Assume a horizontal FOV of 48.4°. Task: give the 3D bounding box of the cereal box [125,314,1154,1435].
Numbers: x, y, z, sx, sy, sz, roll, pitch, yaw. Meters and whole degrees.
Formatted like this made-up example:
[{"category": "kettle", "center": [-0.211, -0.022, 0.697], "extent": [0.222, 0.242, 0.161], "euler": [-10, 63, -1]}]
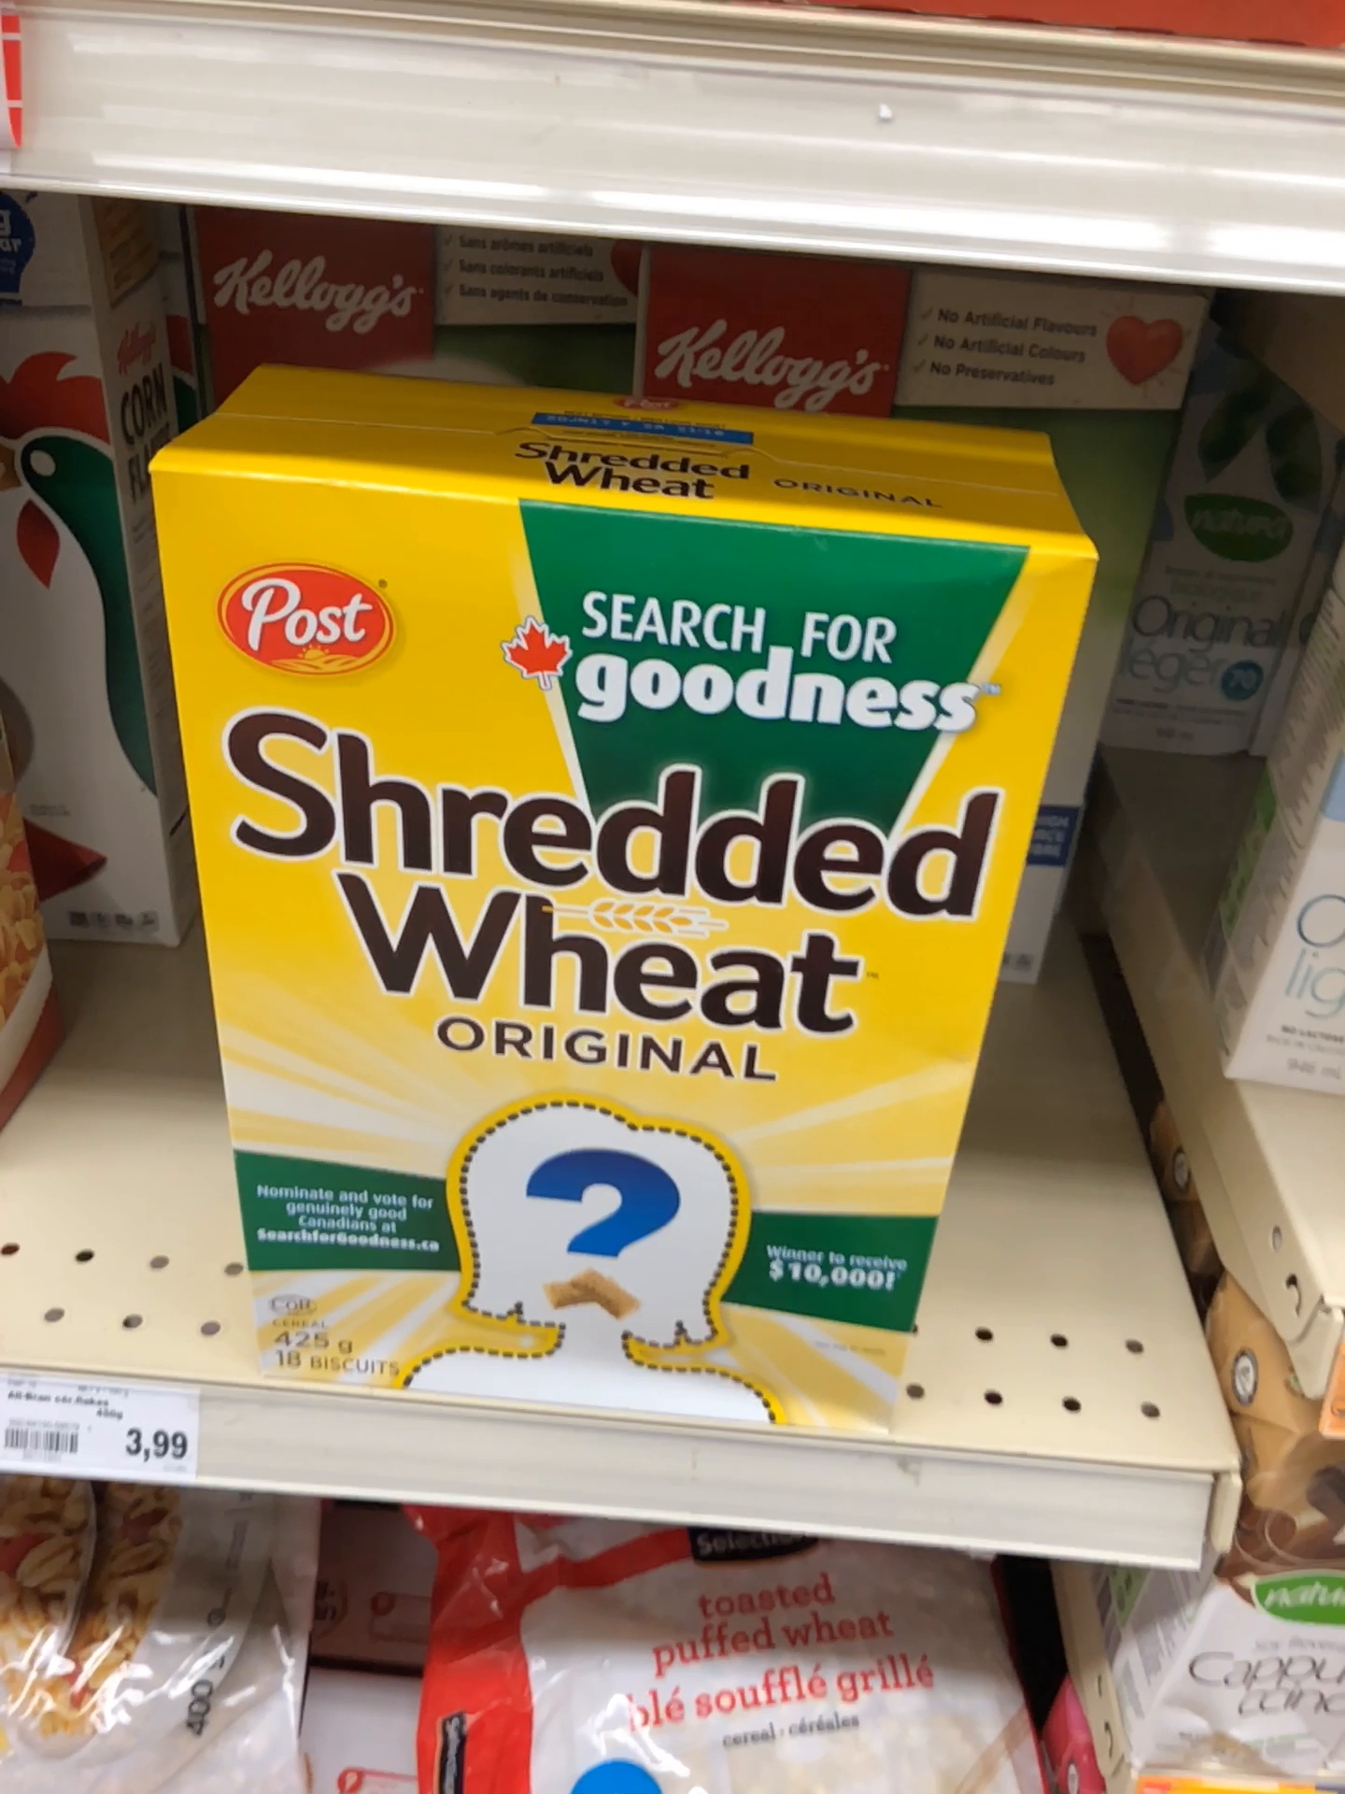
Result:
[{"category": "cereal box", "center": [-0.013, 0.011, 0.403], "extent": [0.200, 0.288, 0.081], "euler": [5, 34, 1]}]
